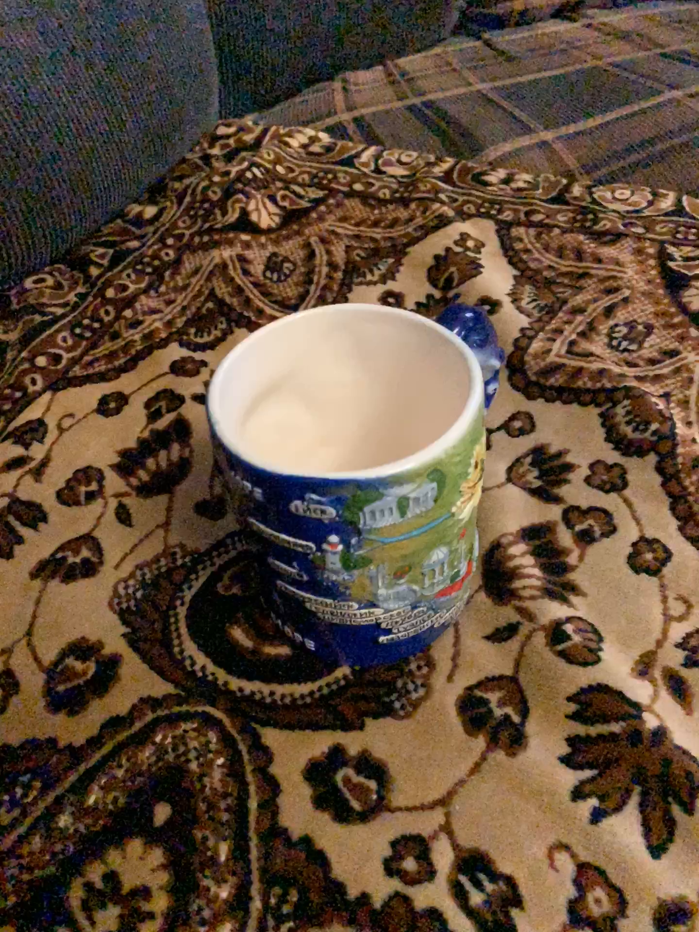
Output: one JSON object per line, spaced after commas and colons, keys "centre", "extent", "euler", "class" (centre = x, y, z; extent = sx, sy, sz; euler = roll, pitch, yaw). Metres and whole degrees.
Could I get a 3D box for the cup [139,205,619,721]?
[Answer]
{"centre": [0.016, -0.007, 0.261], "extent": [0.090, 0.105, 0.128], "euler": [28, 55, 27], "class": "cup"}
